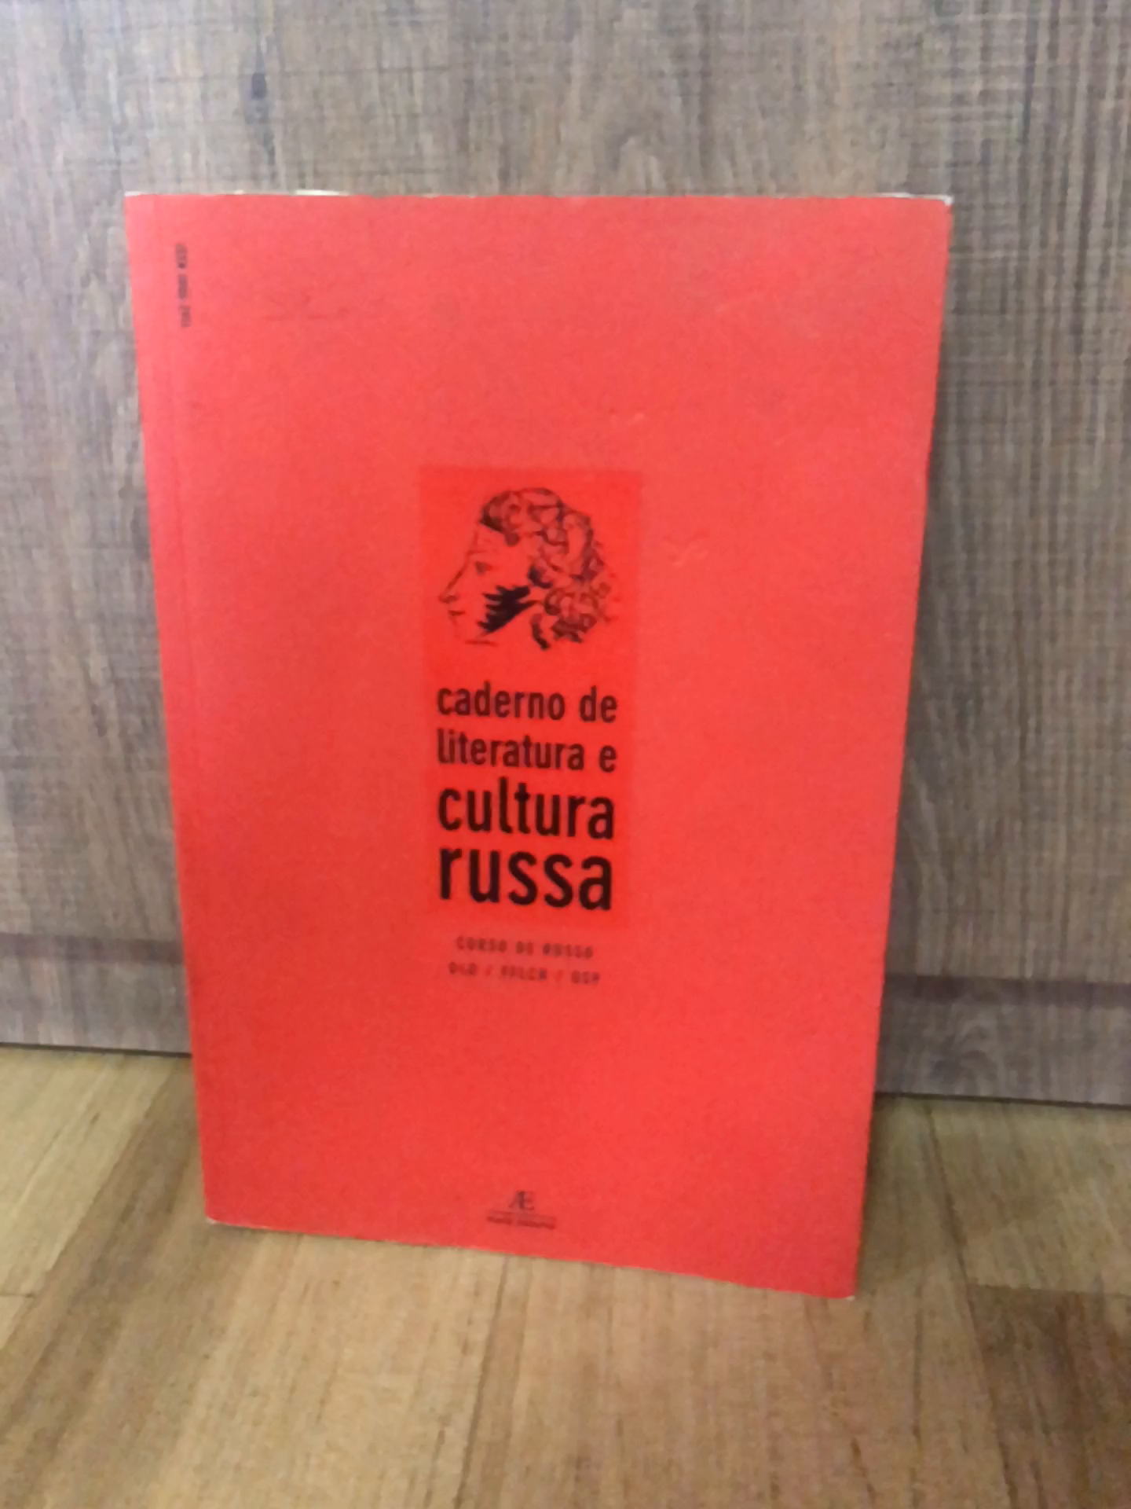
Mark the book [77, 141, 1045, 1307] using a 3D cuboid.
[{"bbox_3d":[-0.003,-0.001,0.295,0.187,0.249,0.040,3,16,9],"label":"book"}]
